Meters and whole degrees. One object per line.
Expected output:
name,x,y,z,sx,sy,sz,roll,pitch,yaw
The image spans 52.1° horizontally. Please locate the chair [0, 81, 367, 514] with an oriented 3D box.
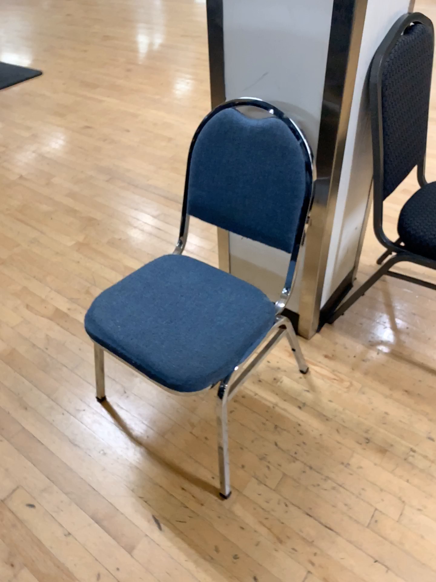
chair,-0.052,0.023,1.210,0.549,0.888,0.554,26,50,28
